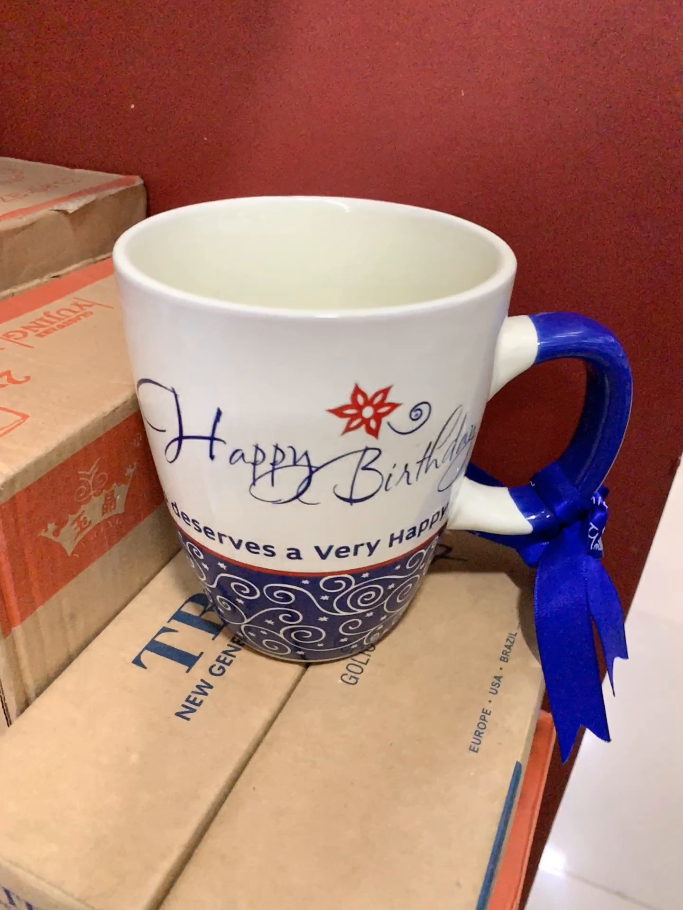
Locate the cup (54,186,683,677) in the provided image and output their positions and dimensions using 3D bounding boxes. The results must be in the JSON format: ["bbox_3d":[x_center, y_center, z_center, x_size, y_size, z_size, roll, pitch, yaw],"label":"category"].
[{"bbox_3d":[0.013,-0.013,0.183,0.131,0.086,0.092,-1,32,-5],"label":"cup"}]
